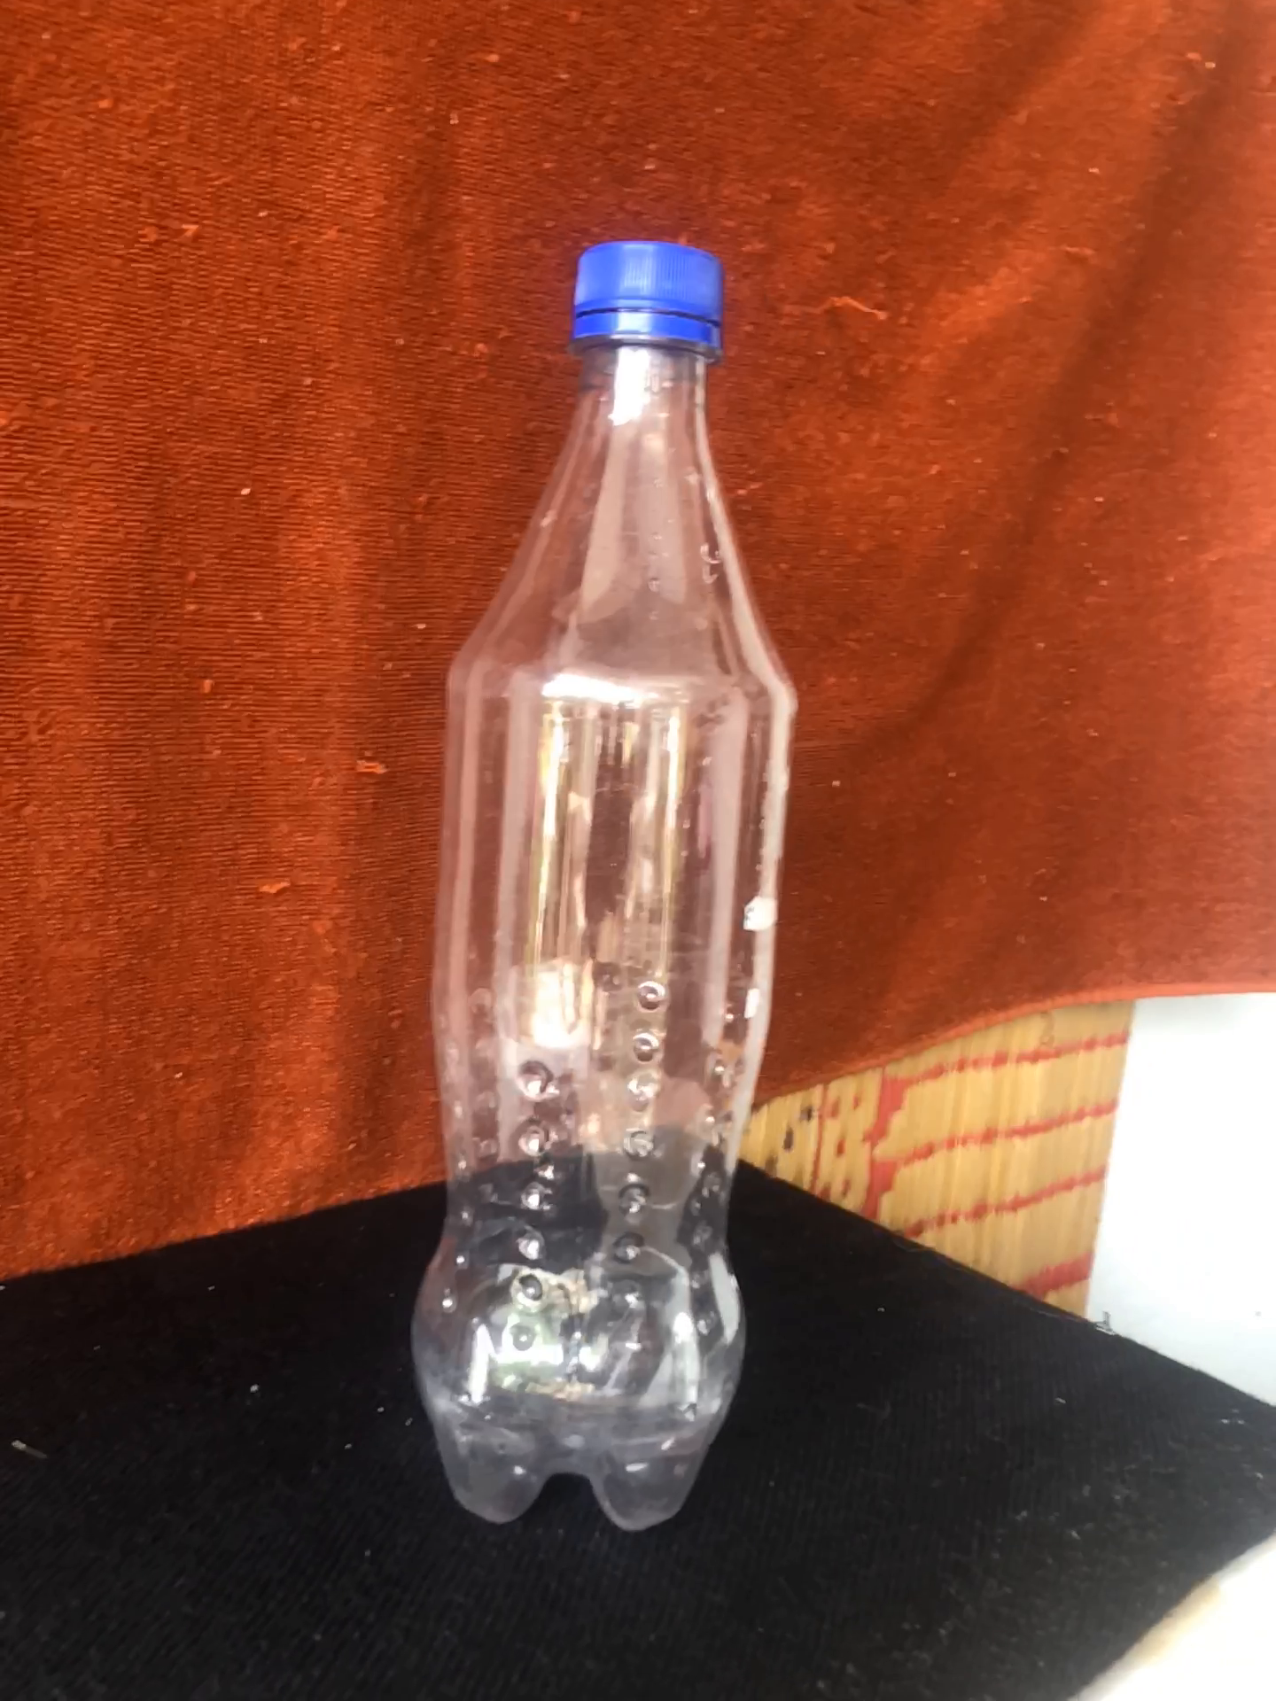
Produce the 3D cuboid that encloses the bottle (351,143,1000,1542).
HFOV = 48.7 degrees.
[{"bbox_3d":[-0.001,0.004,0.293,0.090,0.249,0.080,5,10,-7],"label":"bottle"}]
